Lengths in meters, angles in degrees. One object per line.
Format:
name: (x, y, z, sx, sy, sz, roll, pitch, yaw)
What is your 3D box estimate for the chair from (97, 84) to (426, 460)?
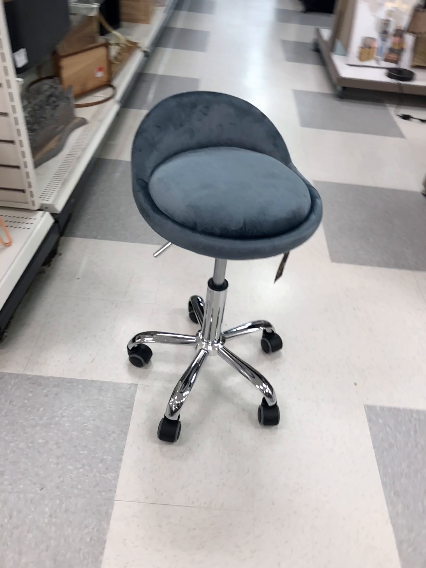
chair: (0.033, -0.038, 1.053, 0.475, 0.629, 0.485, -8, 43, -16)
